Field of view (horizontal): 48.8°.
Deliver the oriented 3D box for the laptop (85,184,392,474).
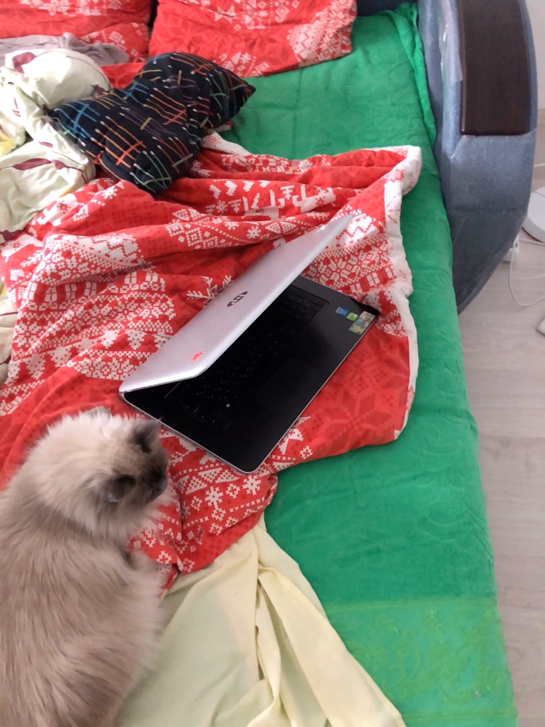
[{"bbox_3d":[-0.032,-0.079,0.984,0.276,0.176,0.414,27,56,22],"label":"laptop"}]
